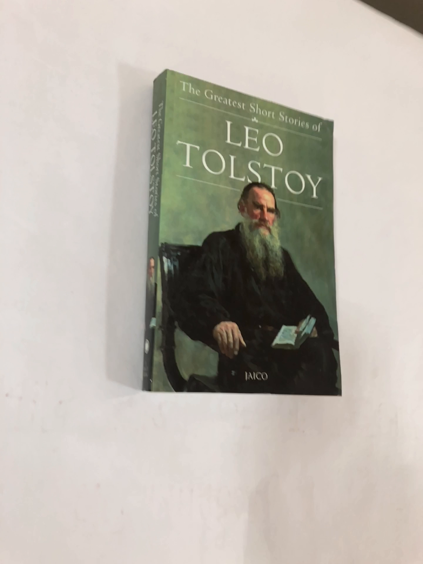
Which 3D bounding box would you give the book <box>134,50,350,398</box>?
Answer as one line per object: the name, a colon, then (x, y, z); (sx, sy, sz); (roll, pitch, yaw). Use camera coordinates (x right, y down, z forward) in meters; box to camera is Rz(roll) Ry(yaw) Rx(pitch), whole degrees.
book: (0.025, -0.036, 0.335); (0.151, 0.020, 0.230); (7, 75, -26)
